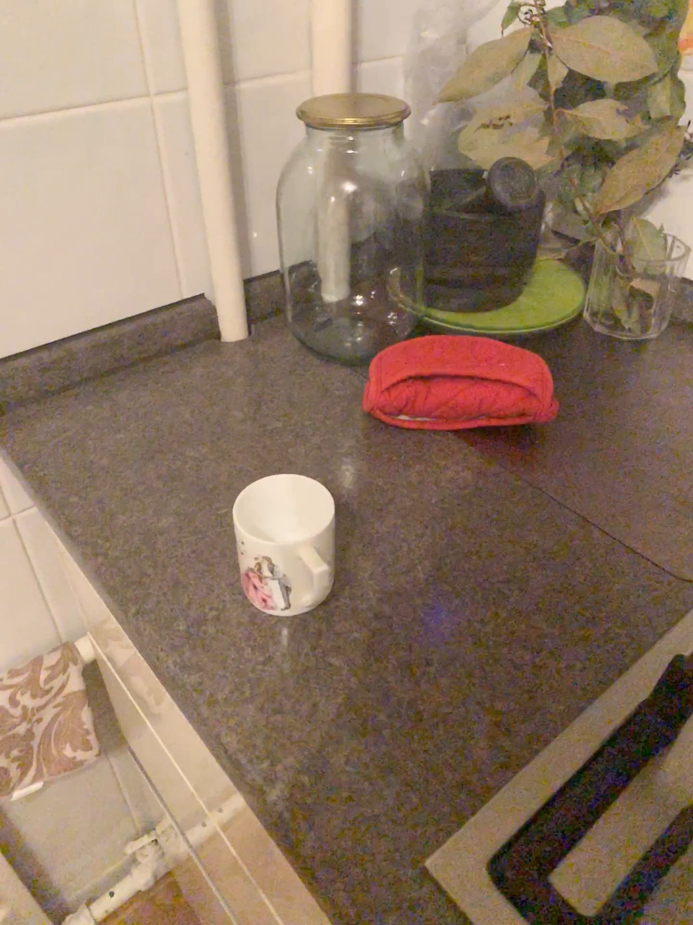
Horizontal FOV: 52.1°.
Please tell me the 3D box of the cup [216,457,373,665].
[{"bbox_3d":[-0.031,0.055,0.412,0.060,0.069,0.081,-17,41,-20],"label":"cup"}]
